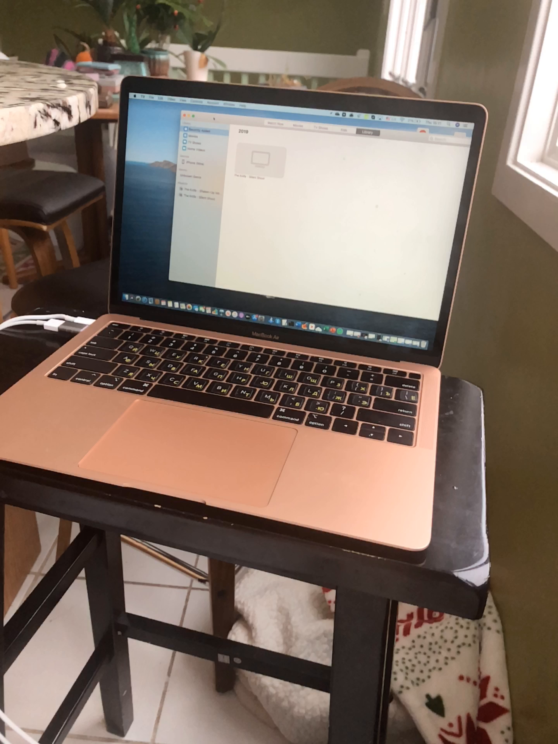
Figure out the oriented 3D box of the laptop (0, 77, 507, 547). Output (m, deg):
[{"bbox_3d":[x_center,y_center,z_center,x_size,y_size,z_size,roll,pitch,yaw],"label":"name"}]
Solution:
[{"bbox_3d":[-0.026,-0.079,0.427,0.297,0.196,0.266,10,29,11],"label":"laptop"}]
